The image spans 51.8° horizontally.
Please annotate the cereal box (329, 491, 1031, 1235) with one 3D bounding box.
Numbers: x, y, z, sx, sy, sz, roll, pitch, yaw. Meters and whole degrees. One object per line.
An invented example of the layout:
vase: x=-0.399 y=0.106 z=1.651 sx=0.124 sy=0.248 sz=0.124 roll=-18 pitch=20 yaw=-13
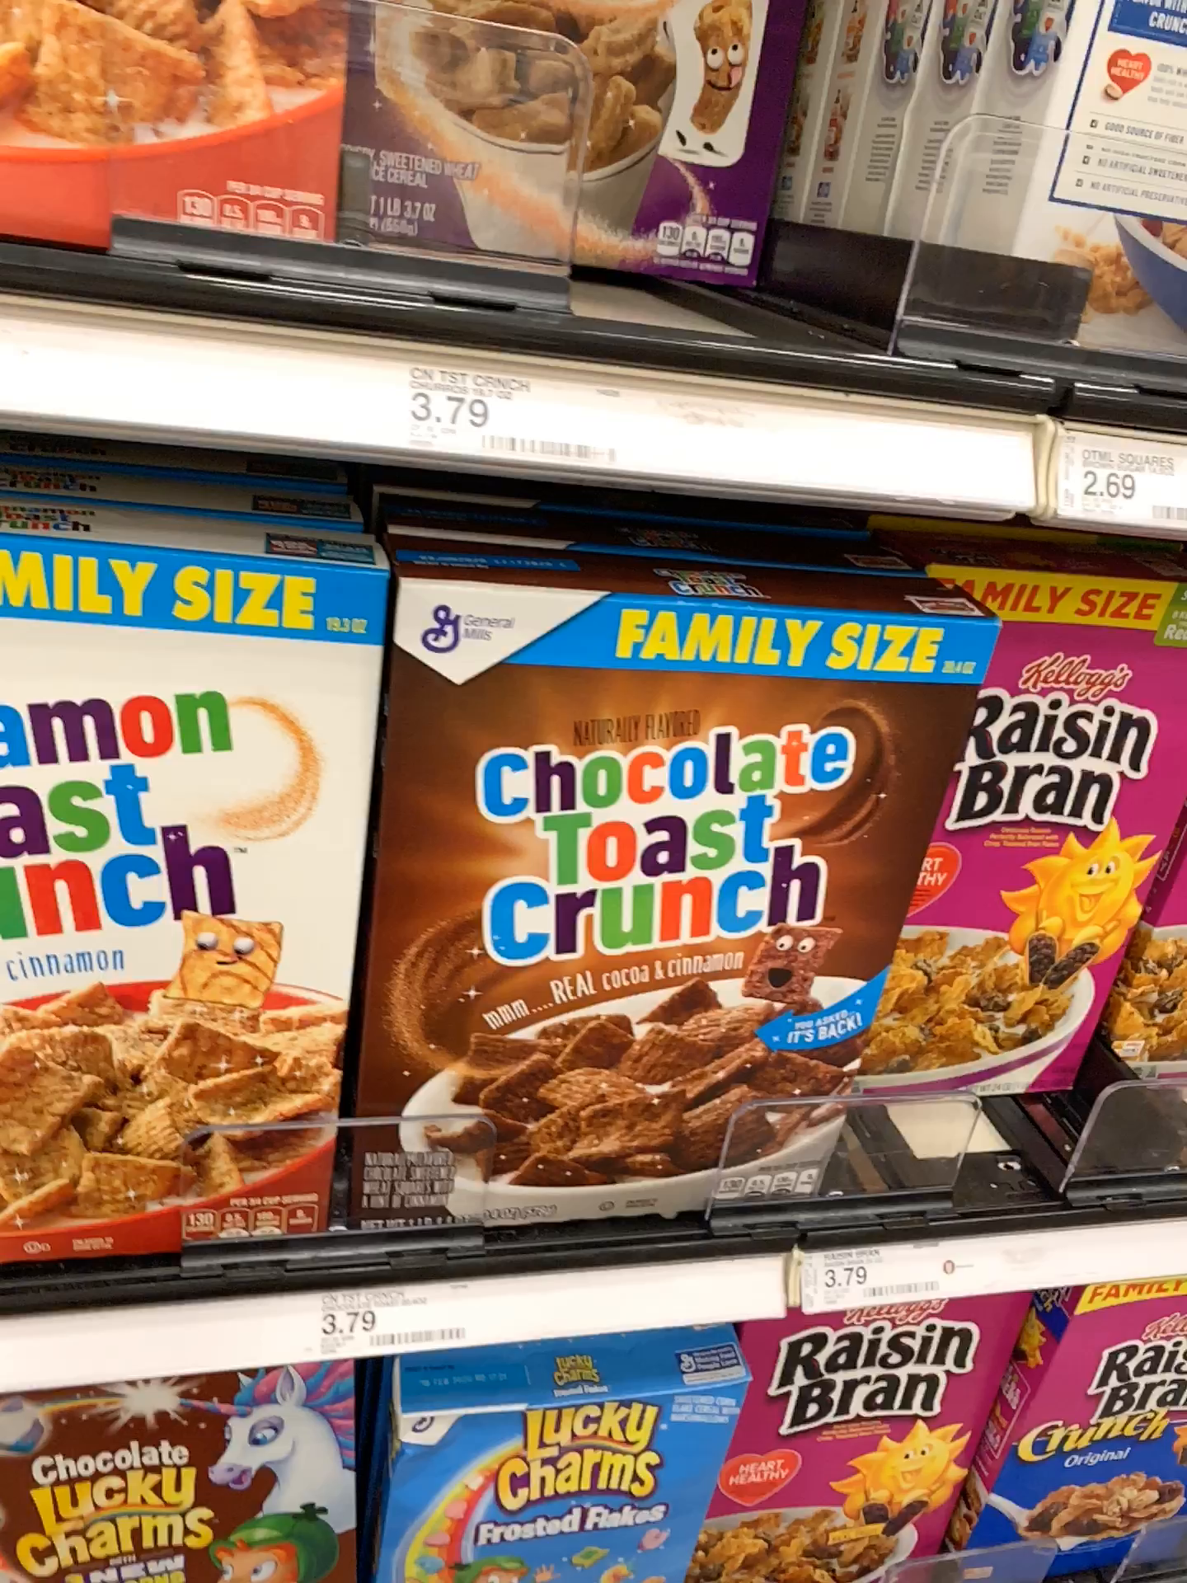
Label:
cereal box: x=0.019 y=0.044 z=0.519 sx=0.240 sy=0.308 sz=0.060 roll=1 pitch=28 yaw=-16
